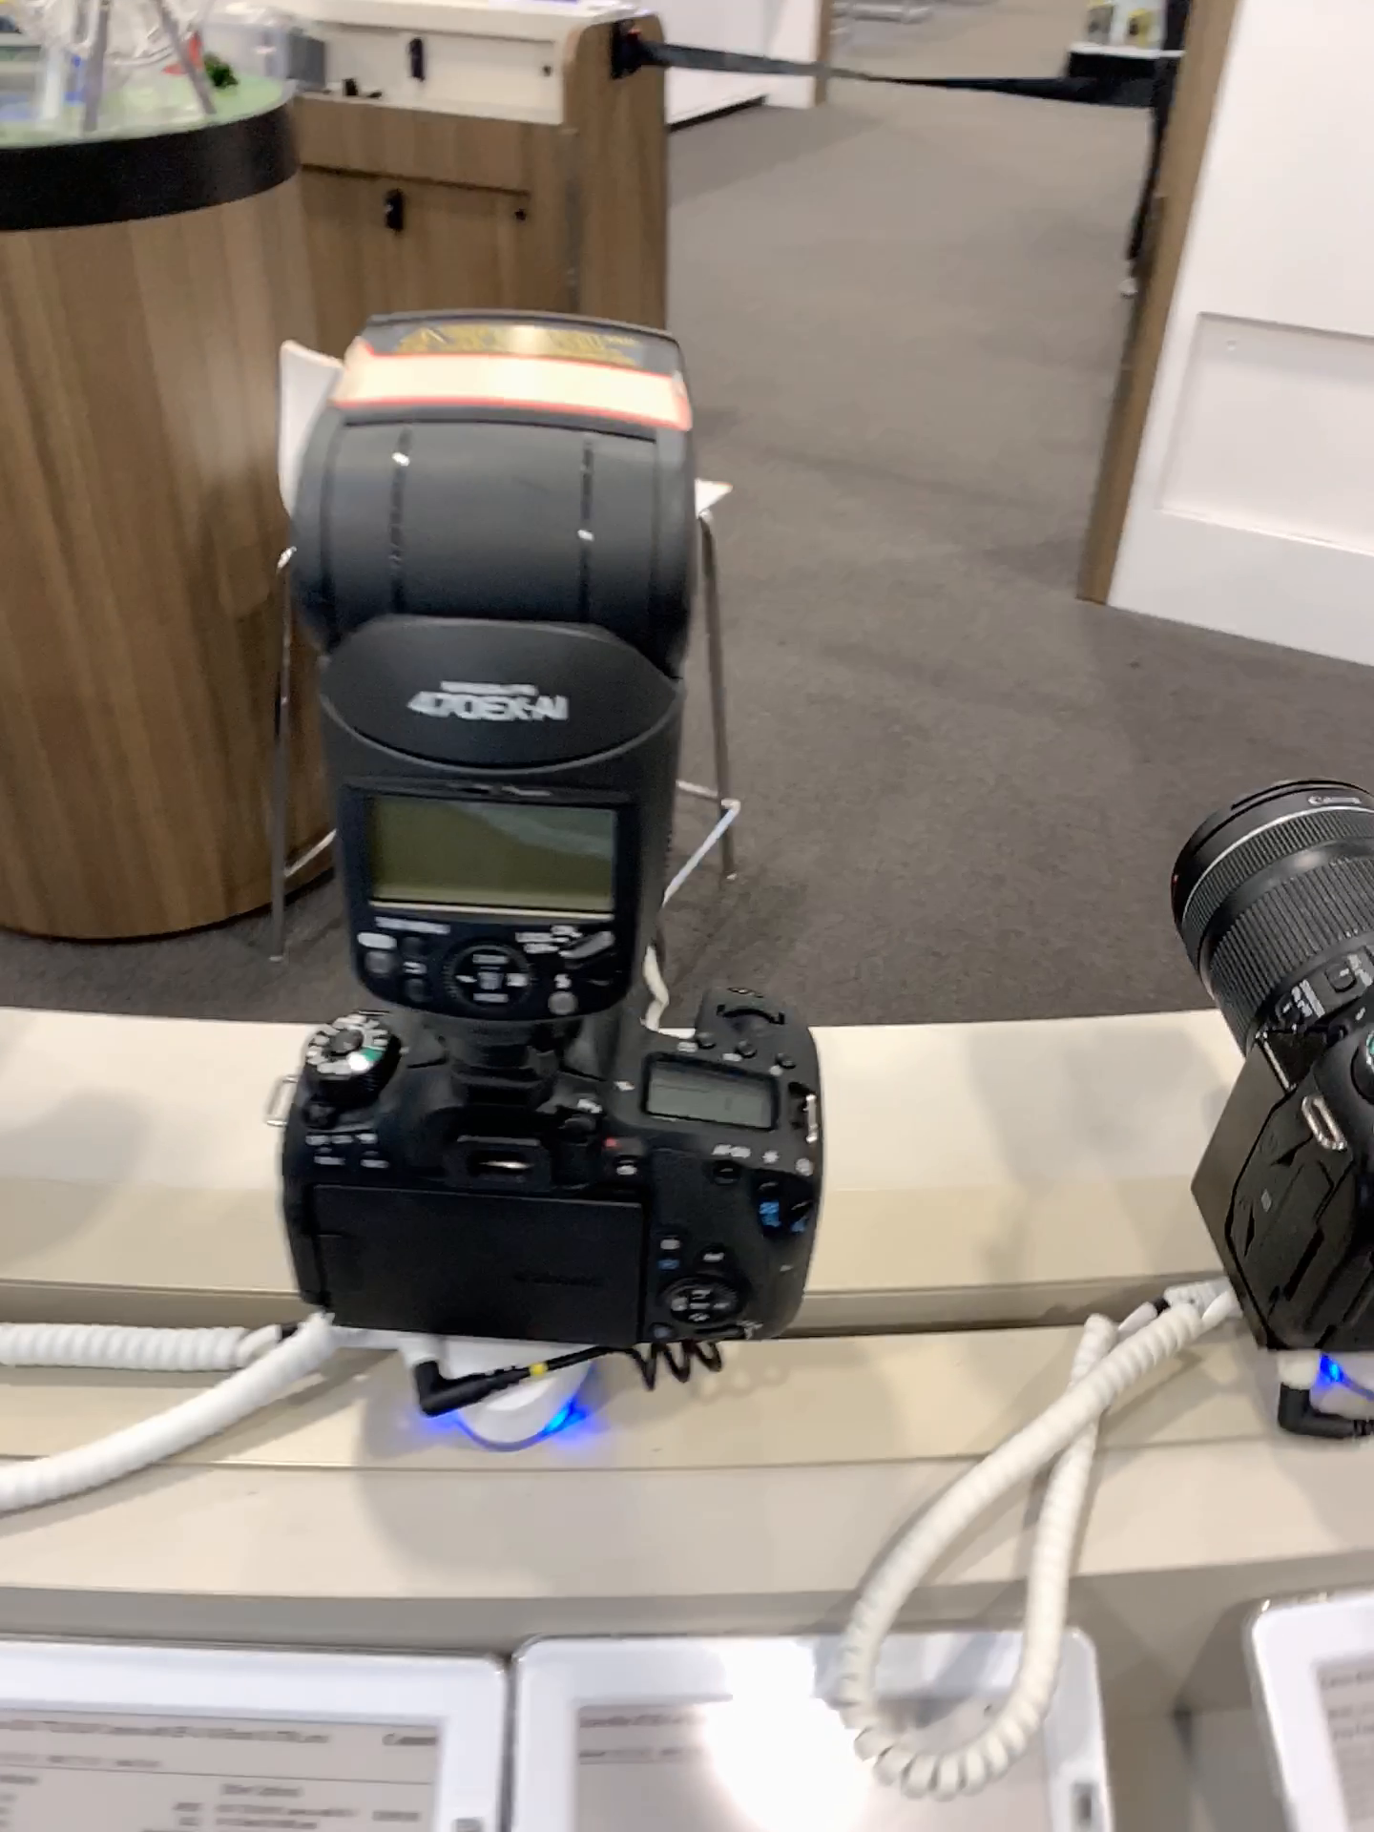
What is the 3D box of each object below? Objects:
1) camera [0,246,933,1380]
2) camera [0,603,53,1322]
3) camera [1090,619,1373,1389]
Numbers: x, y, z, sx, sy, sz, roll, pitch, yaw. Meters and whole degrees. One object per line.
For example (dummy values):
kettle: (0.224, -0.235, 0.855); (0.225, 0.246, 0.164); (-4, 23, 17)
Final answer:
camera: (-0.036, -0.026, 0.355); (0.150, 0.219, 0.171); (3, 38, 1)
camera: (-0.310, 0.001, 0.419); (0.140, 0.099, 0.201); (3, 38, 2)
camera: (0.212, 0.010, 0.376); (0.140, 0.099, 0.191); (-1, 38, -3)
